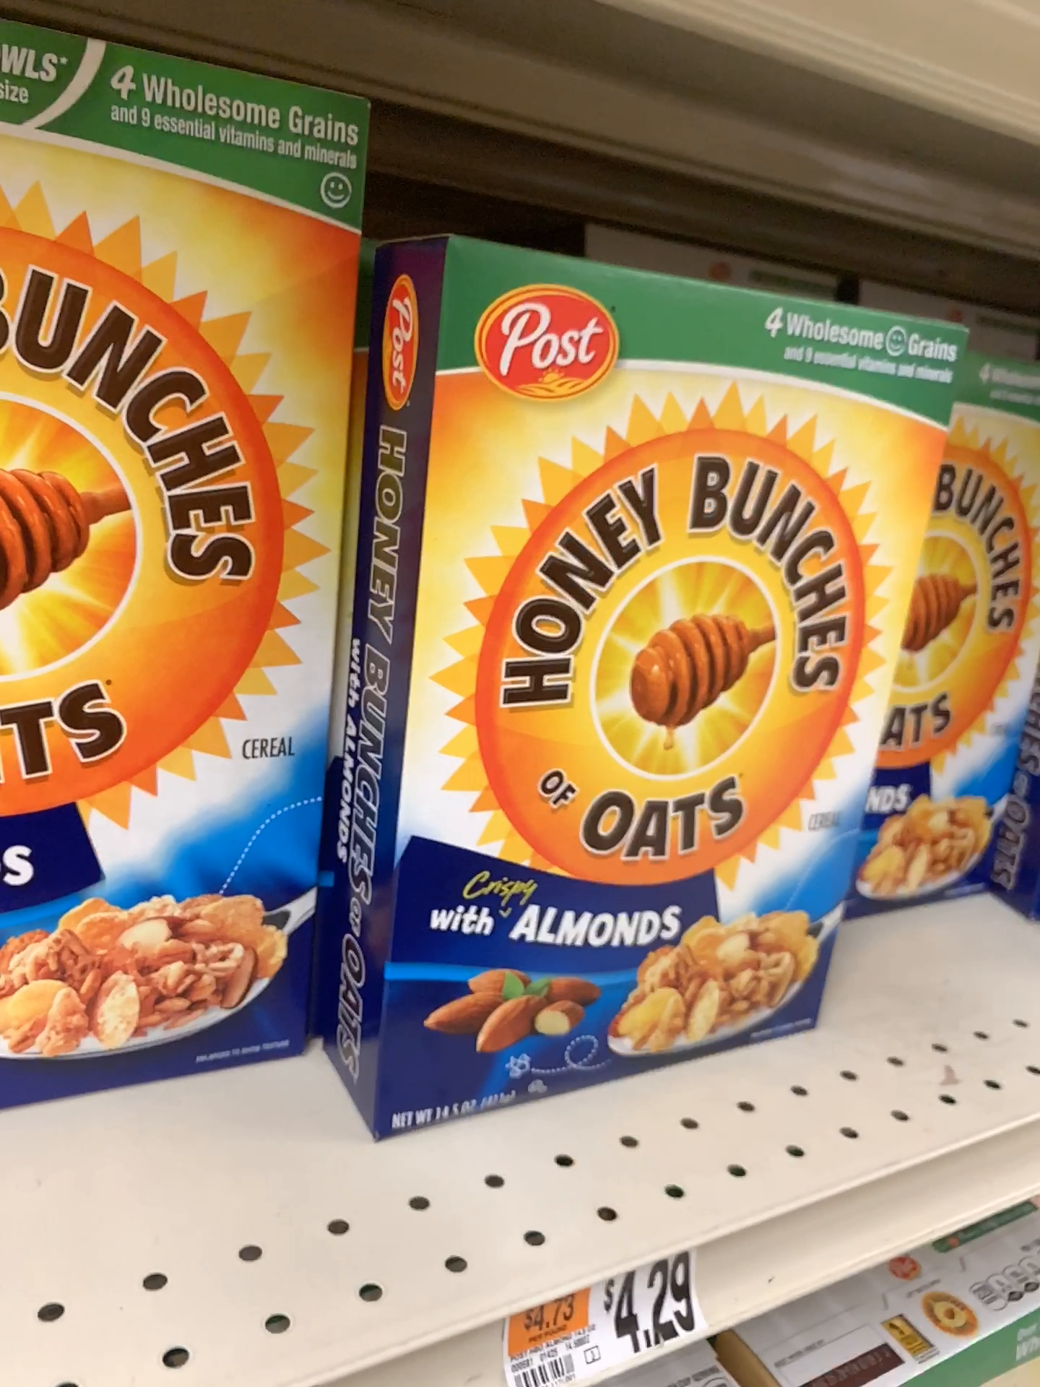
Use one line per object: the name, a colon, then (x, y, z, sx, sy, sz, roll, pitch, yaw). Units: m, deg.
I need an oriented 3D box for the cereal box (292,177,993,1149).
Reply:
cereal box: (0.037, -0.004, 0.371, 0.200, 0.279, 0.060, -2, 19, -29)
